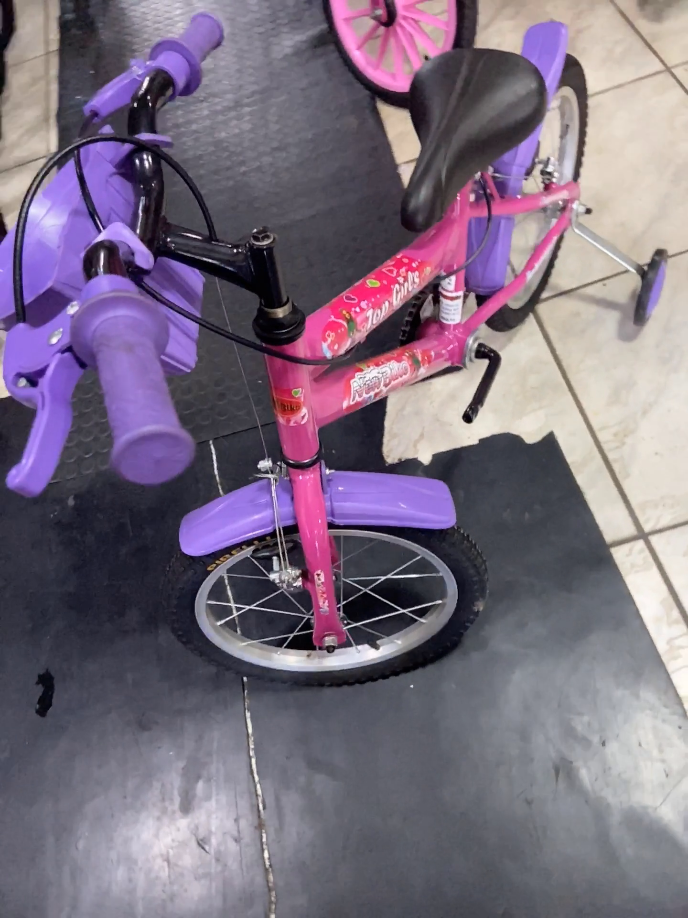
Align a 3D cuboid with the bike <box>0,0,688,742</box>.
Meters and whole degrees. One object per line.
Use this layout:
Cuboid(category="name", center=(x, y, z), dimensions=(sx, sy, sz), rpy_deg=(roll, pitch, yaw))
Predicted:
Cuboid(category="bike", center=(-0.010, -0.229, 0.840), dimensions=(0.547, 0.704, 0.922), rpy_deg=(28, 75, 26))
